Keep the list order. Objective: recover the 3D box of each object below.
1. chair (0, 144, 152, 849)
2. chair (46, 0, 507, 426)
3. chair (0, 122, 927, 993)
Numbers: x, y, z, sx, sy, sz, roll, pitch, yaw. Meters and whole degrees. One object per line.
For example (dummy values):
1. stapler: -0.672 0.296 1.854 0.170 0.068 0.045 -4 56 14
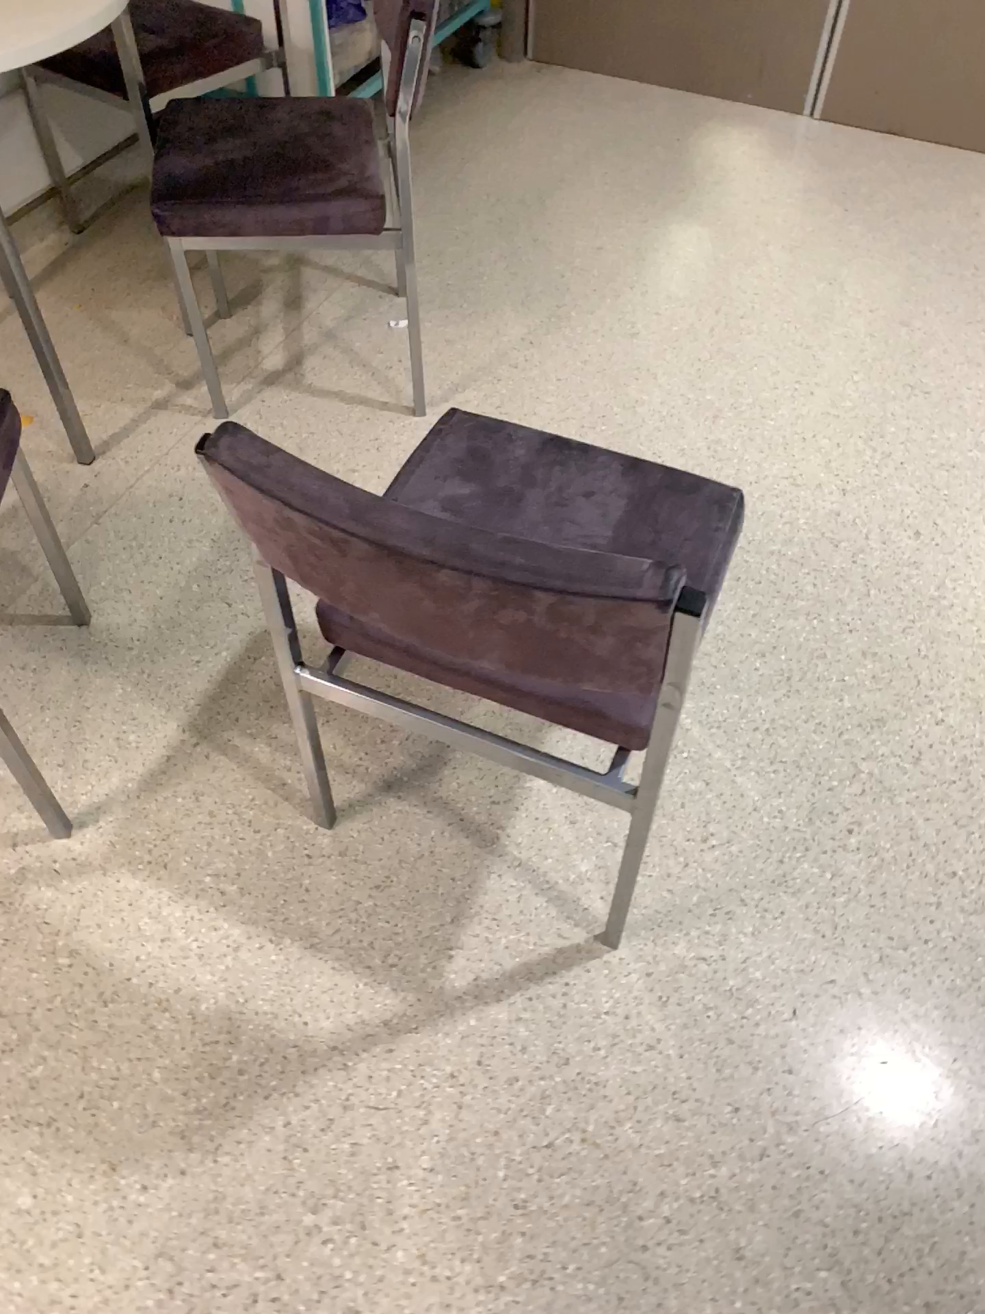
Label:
1. chair: -0.885 -0.142 1.146 0.740 0.615 0.514 -1 58 -2
2. chair: -0.303 -0.860 1.598 0.510 0.615 0.746 -4 51 -7
3. chair: 0.019 -0.152 1.145 0.681 0.506 0.685 18 52 13
